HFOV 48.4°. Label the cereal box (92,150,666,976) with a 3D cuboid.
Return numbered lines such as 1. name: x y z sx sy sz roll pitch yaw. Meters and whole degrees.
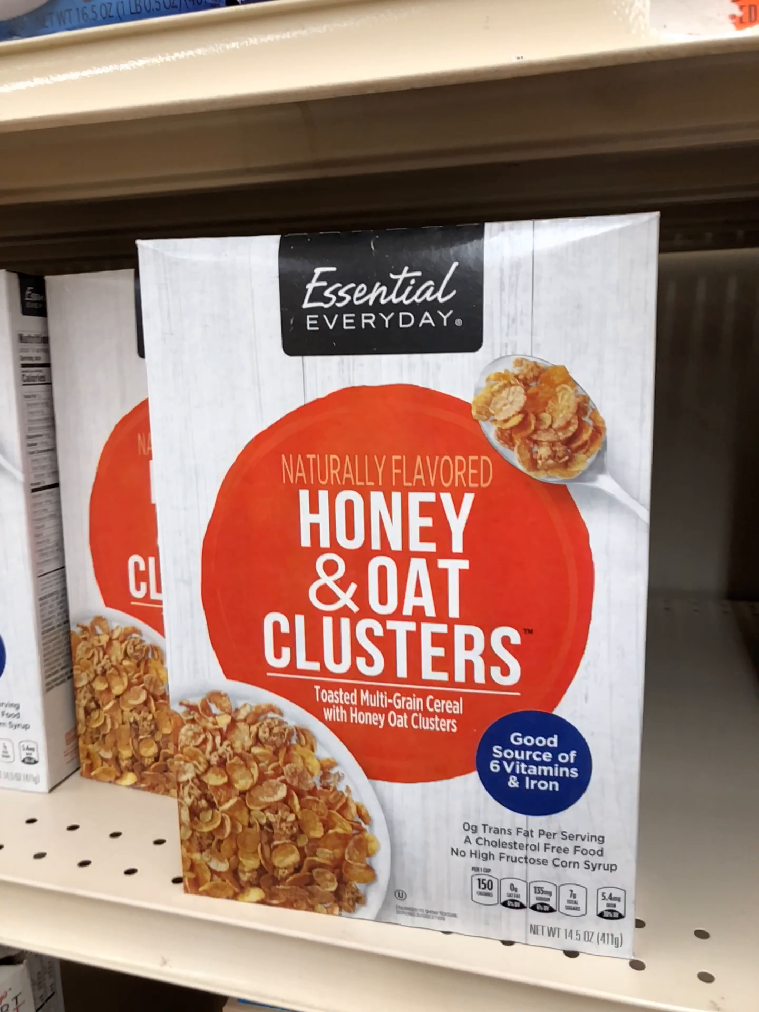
1. cereal box: 0.004 0.024 0.358 0.210 0.300 0.070 1 11 15
